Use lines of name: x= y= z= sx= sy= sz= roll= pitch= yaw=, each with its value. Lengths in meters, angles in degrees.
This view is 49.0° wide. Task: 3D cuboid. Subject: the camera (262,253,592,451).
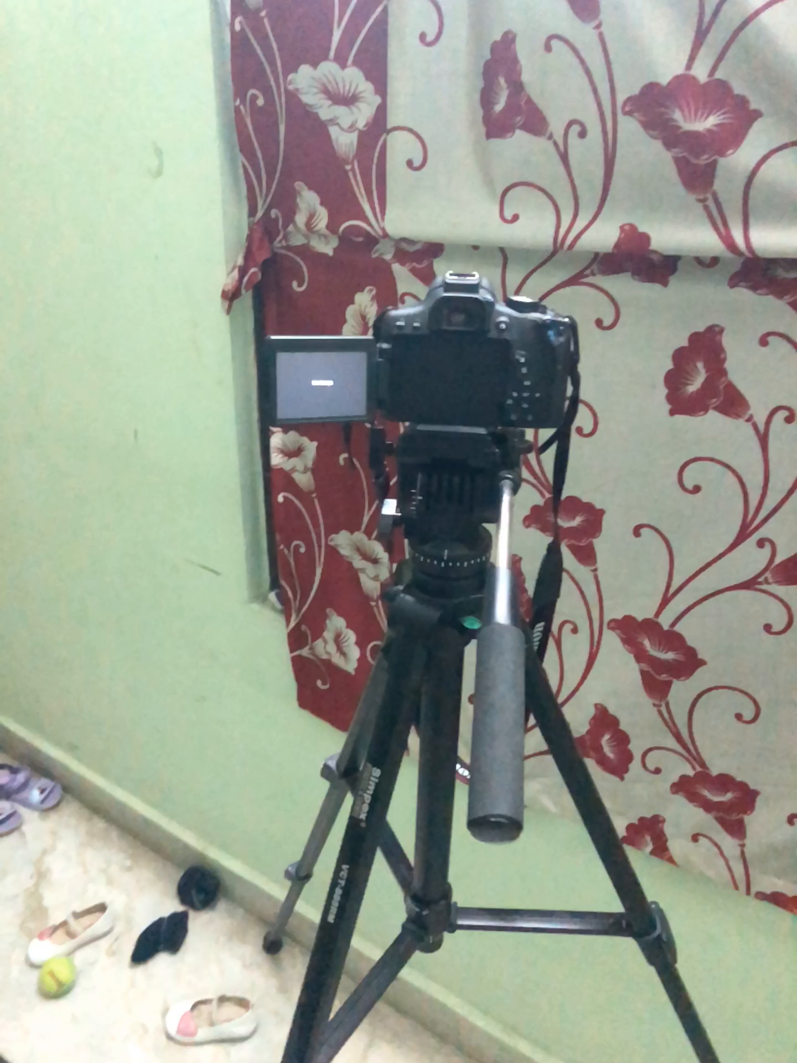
camera: x=0.024 y=-0.131 z=0.609 sx=0.200 sy=0.087 sz=0.141 roll=5 pitch=28 yaw=6
